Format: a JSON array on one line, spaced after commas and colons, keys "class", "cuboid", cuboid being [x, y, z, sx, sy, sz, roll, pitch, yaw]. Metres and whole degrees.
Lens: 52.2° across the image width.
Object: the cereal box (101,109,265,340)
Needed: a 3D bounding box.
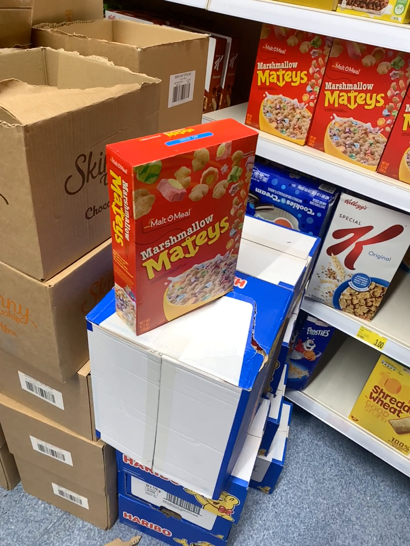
[{"class": "cereal box", "cuboid": [-0.033, -0.062, 0.595, 0.191, 0.287, 0.070, -23, 49, -30]}]
